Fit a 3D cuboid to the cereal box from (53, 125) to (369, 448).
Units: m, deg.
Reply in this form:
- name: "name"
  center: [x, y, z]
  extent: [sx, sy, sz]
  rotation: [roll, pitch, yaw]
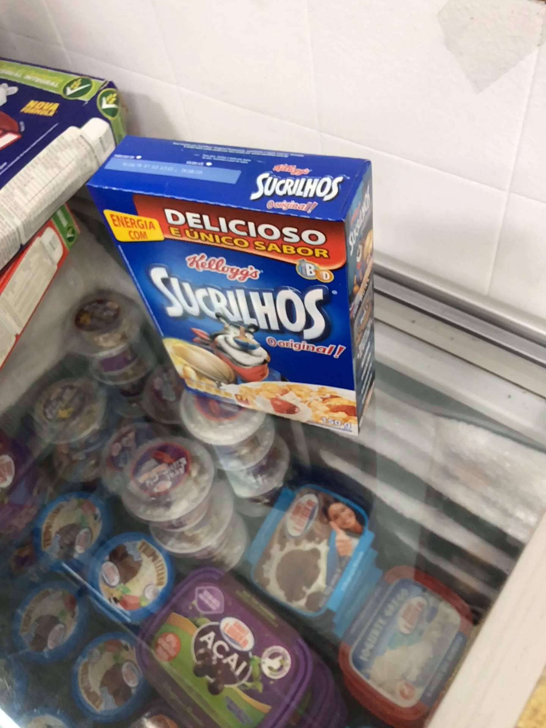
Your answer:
- name: "cereal box"
  center: [-0.019, -0.034, 0.366]
  extent: [0.140, 0.199, 0.050]
  rotation: [13, 59, 18]
